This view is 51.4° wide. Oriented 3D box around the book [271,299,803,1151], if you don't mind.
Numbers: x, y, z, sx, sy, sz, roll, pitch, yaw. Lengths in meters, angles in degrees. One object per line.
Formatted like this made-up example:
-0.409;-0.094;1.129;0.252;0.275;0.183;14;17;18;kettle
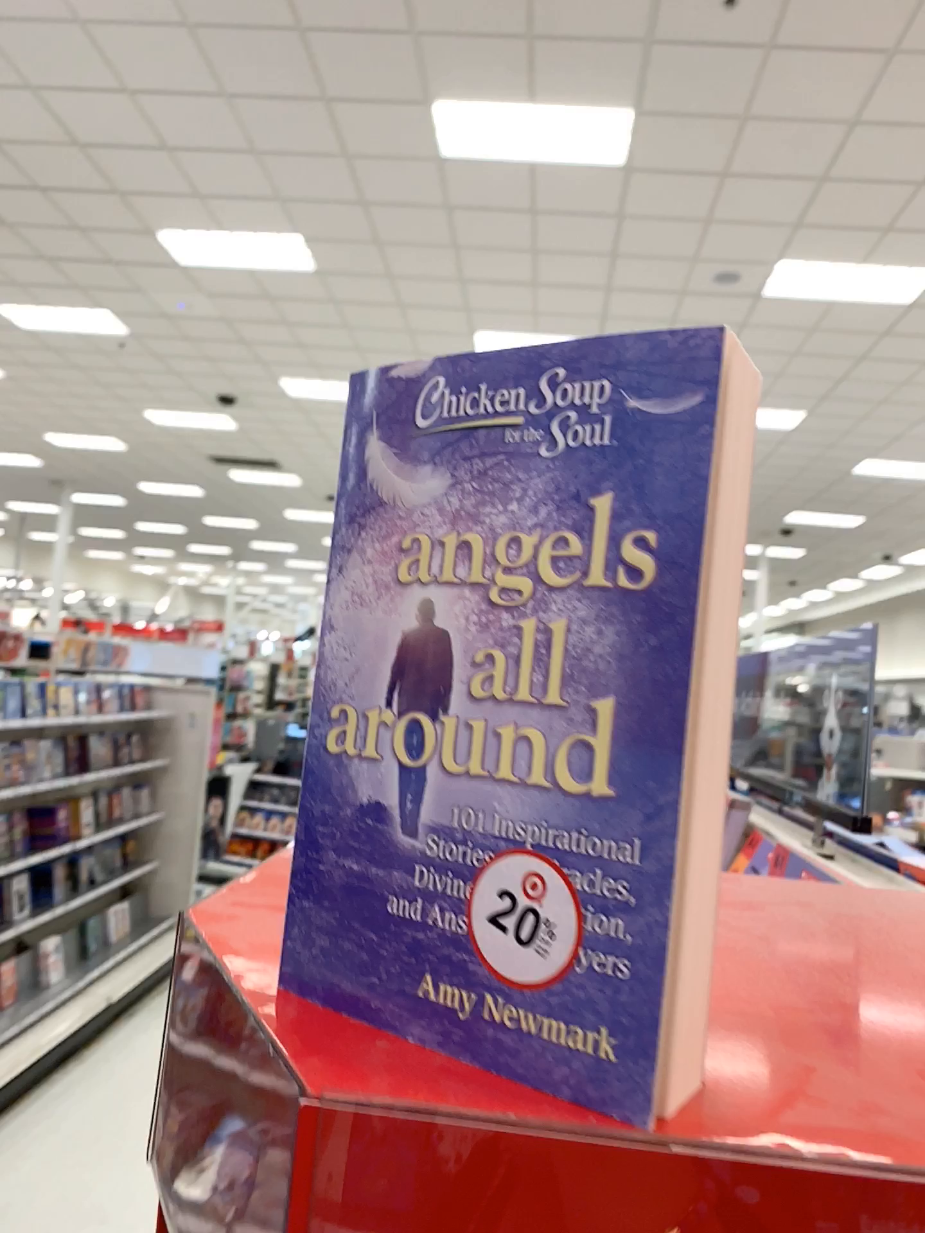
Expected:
0.019;0.022;0.297;0.142;0.211;0.041;2;-9;37;book
